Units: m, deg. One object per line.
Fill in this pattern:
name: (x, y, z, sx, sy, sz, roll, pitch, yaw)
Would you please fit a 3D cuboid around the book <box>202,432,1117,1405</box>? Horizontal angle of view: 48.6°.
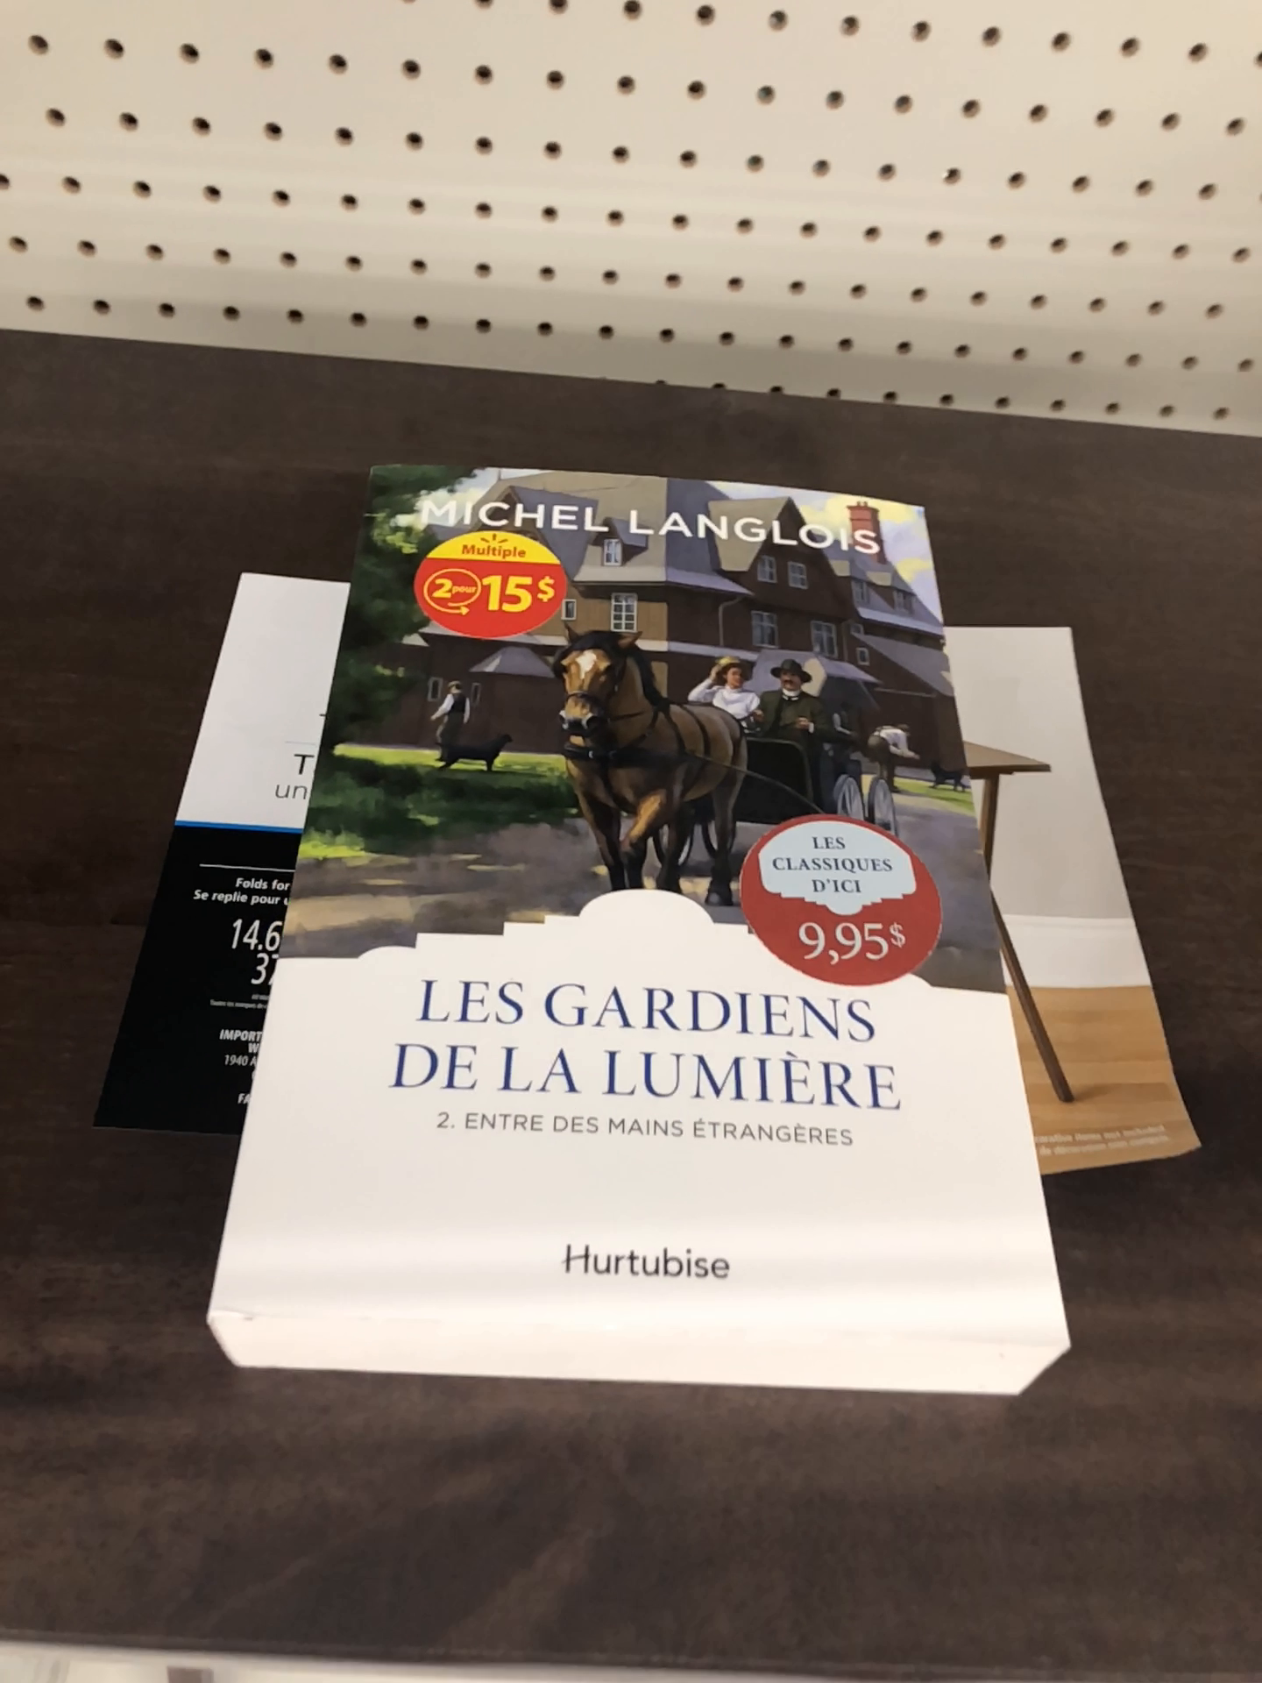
book: (0.007, 0.001, 0.326, 0.158, 0.039, 0.235, 4, 53, -4)
